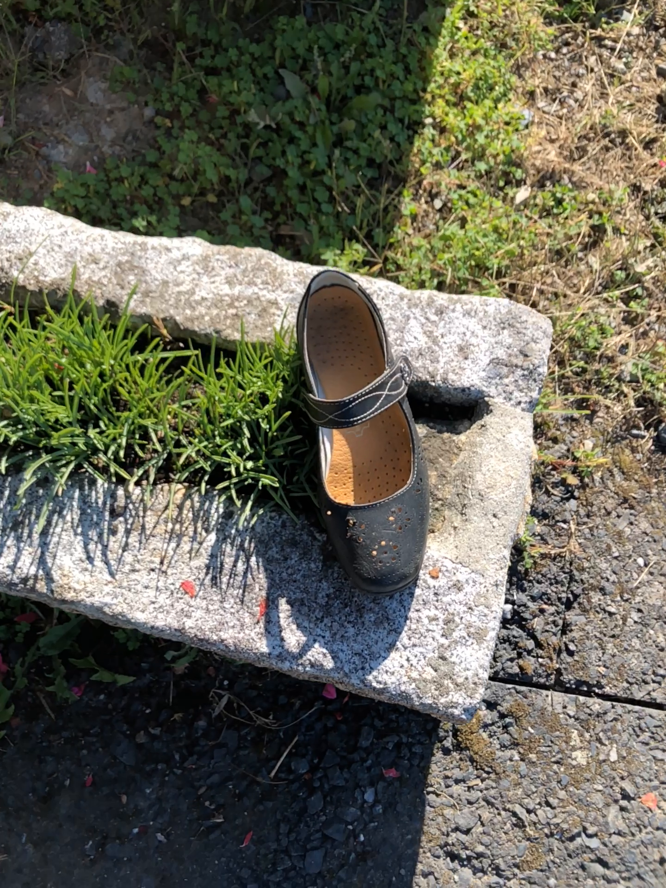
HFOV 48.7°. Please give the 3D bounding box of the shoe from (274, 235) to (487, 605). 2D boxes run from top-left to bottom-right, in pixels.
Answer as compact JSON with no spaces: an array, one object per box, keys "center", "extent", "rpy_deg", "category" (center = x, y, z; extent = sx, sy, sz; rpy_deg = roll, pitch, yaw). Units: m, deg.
[{"center":[0.031,-0.017,0.564],"extent":[0.100,0.100,0.250],"rpy_deg":[-11,72,0],"category":"shoe"}]
